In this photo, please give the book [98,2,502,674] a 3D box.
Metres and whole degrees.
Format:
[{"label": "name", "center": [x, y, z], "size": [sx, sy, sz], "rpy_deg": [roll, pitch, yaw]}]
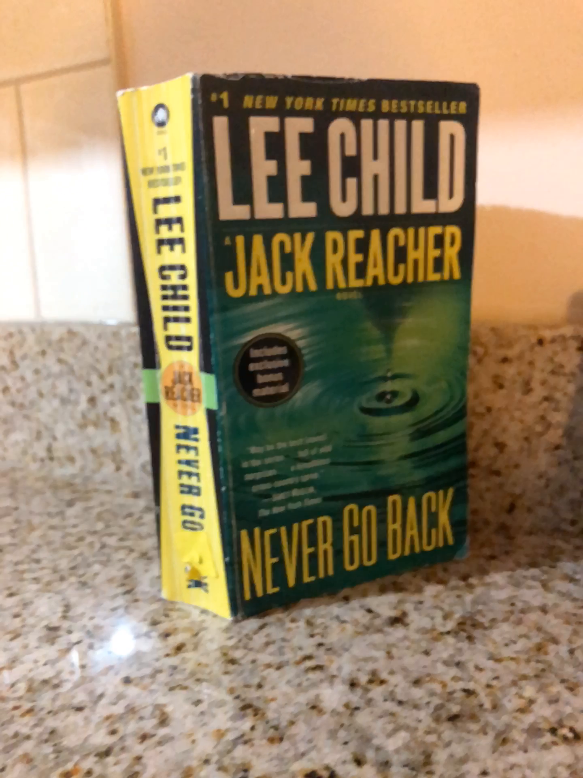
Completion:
[{"label": "book", "center": [0.014, -0.021, 0.281], "size": [0.160, 0.219, 0.050], "rpy_deg": [-10, 14, -35]}]
